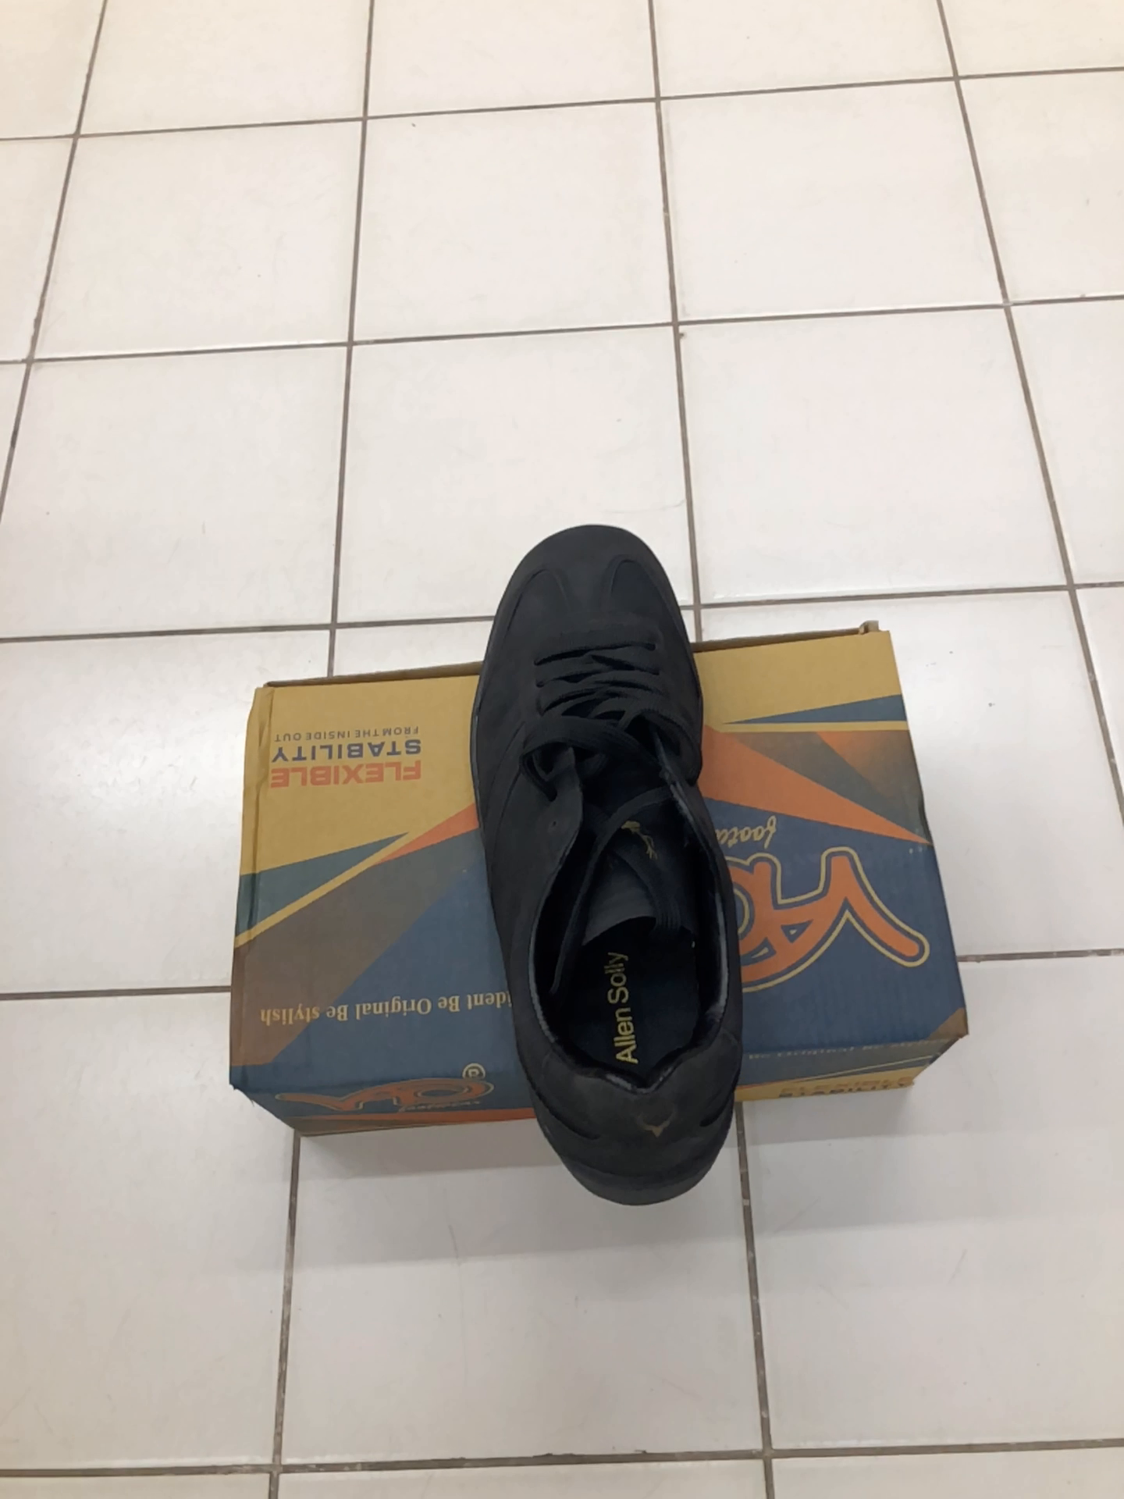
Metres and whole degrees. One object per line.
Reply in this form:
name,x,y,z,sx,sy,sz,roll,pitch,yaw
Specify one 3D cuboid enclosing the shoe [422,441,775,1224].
shoe,0.006,0.024,0.443,0.090,0.080,0.261,-6,65,0
